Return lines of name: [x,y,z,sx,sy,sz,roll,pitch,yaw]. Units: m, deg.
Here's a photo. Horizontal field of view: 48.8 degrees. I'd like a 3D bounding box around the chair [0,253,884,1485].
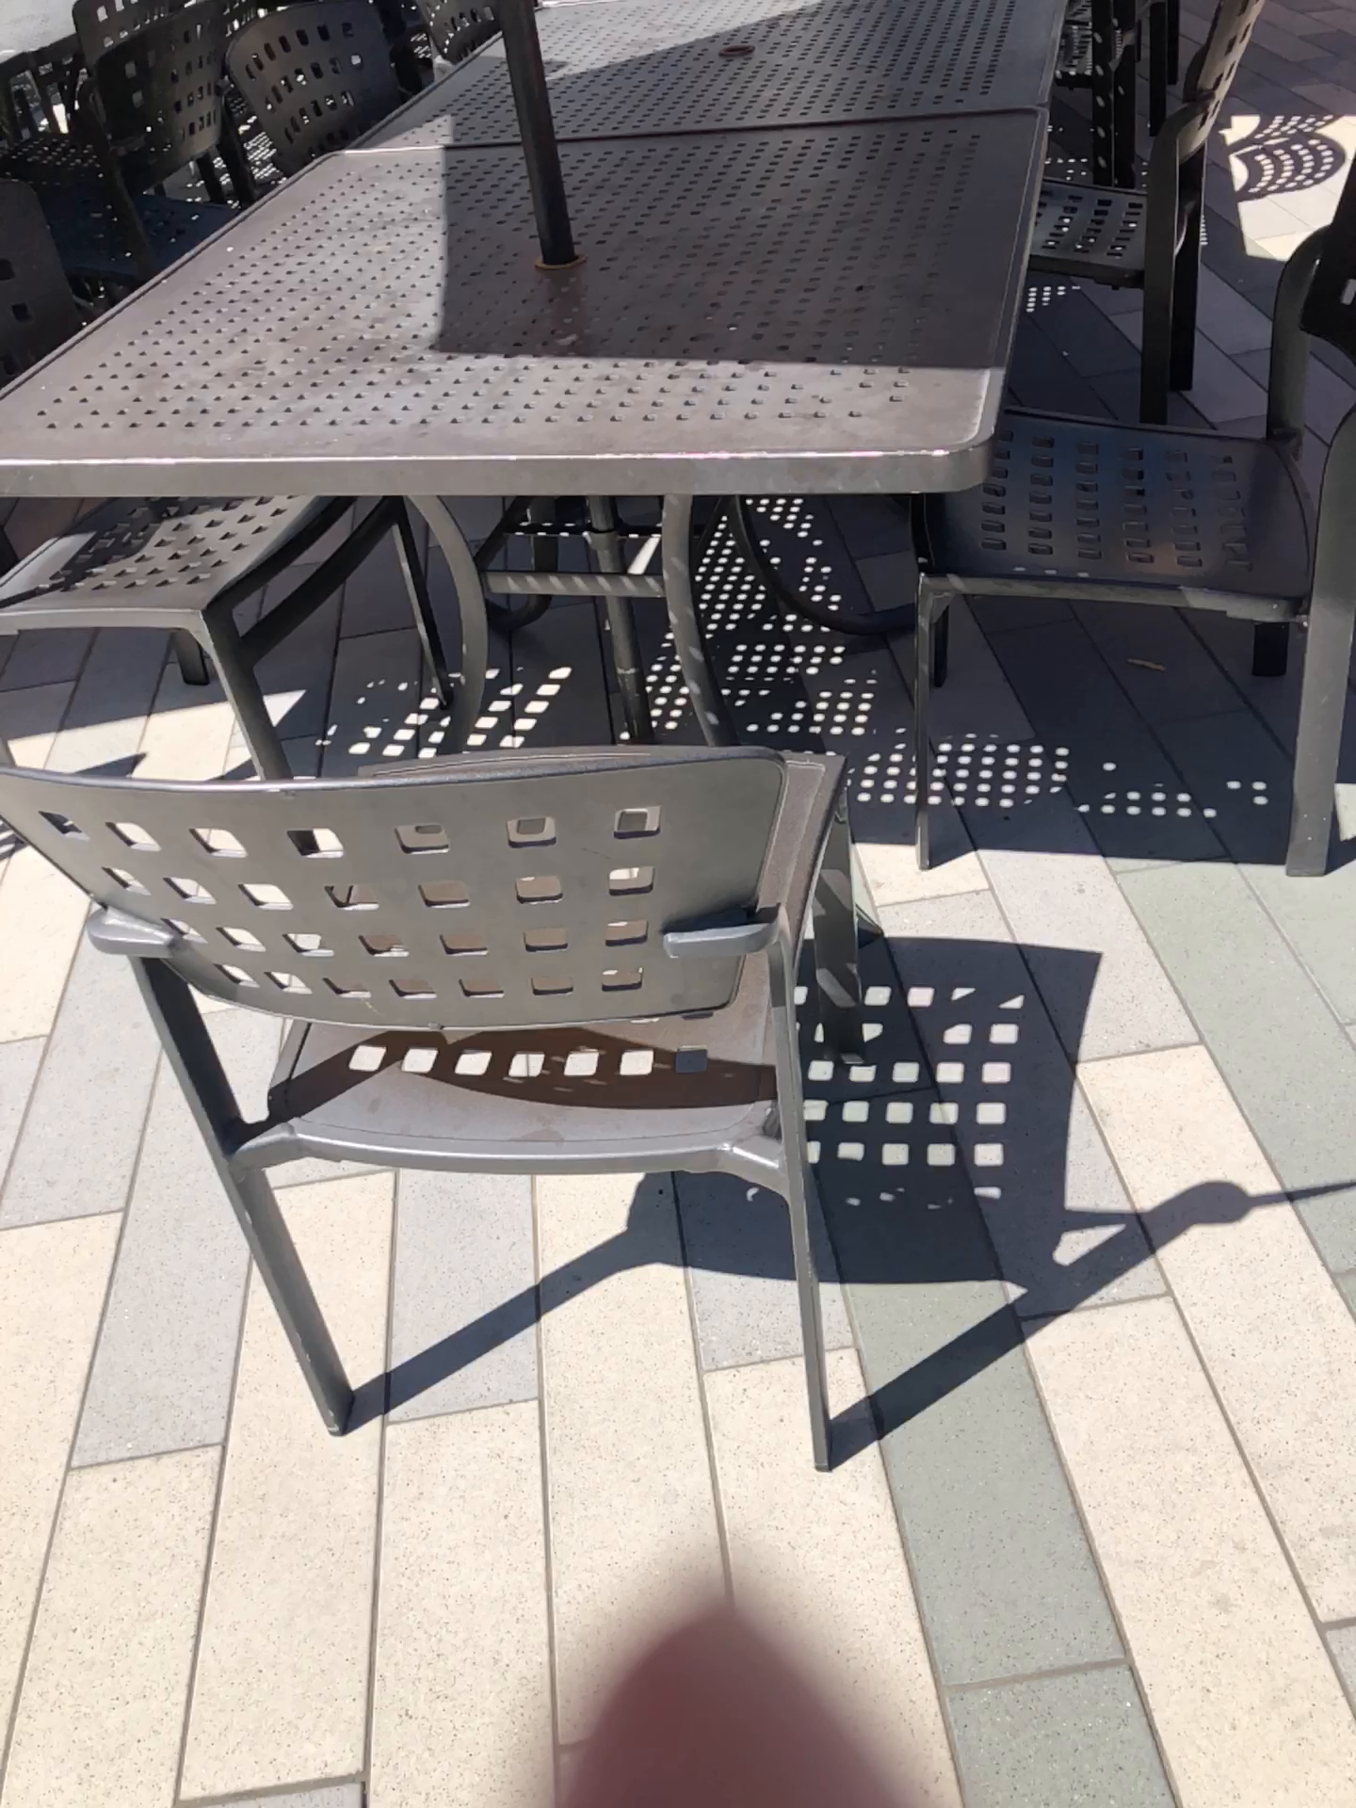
chair: [-0.116,0.009,1.154,0.520,0.756,0.533,-1,45,9]
